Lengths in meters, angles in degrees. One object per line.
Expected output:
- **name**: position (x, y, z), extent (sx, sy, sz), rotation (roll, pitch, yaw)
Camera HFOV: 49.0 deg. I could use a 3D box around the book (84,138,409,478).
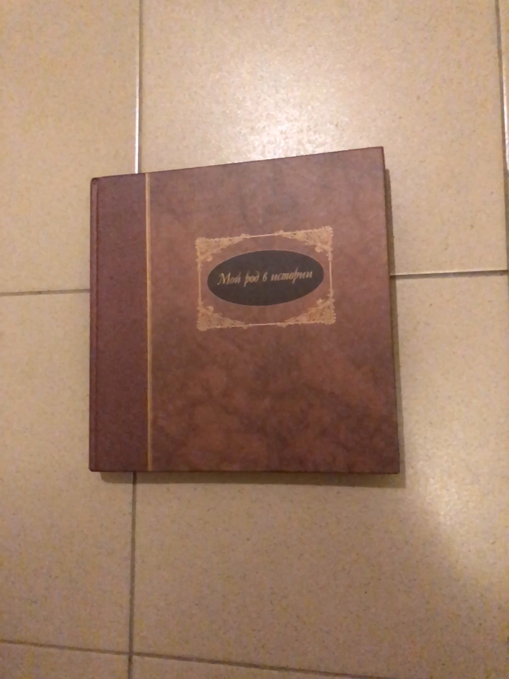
- **book**: position (-0.013, -0.018, 0.441), extent (0.244, 0.038, 0.244), rotation (-3, 82, 13)
